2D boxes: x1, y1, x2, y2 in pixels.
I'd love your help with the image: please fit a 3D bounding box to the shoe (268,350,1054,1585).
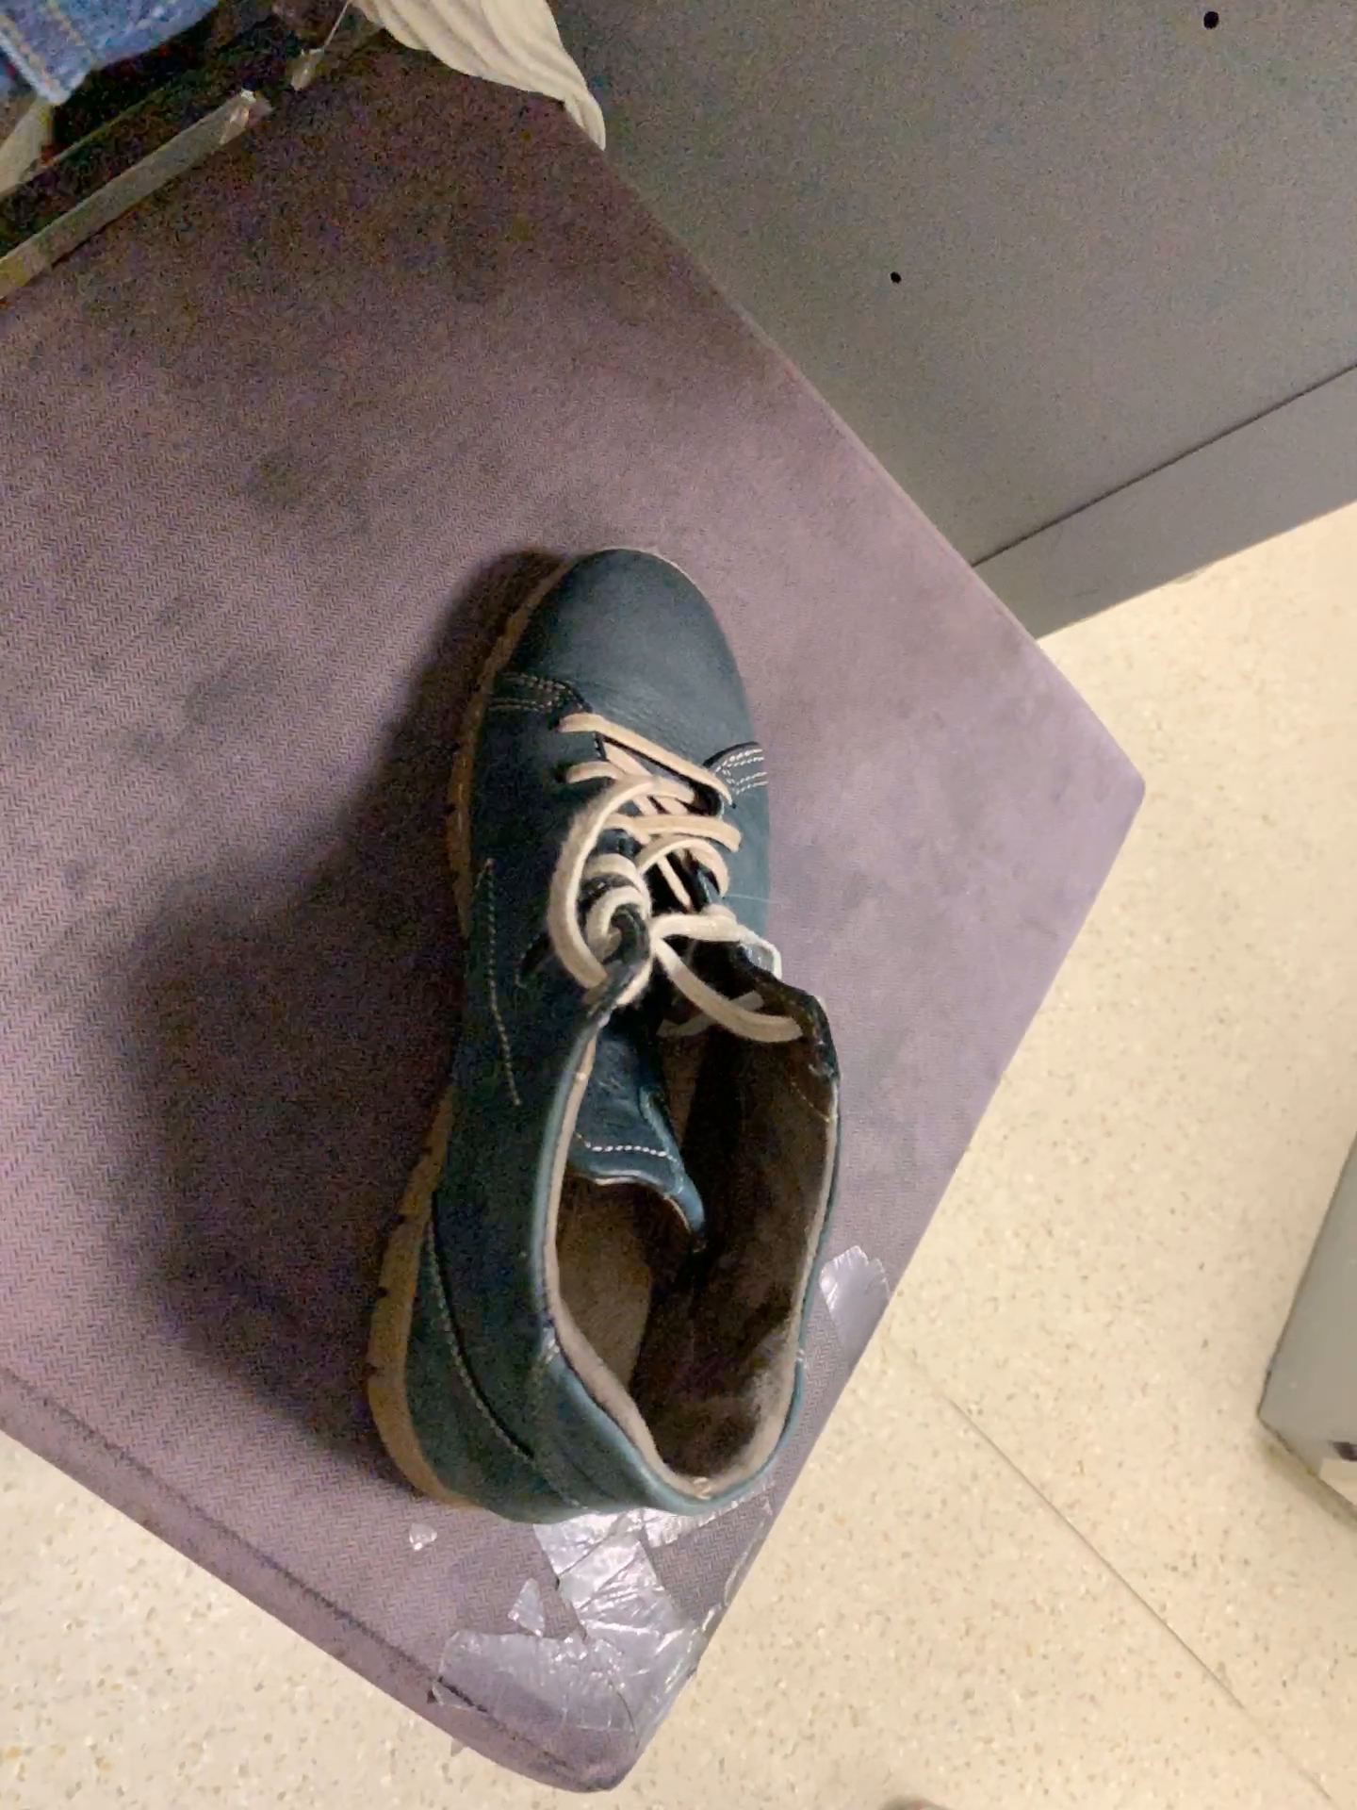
[{"bbox_3d":[-0.004,0.020,0.353,0.103,0.143,0.245,19,70,-28],"label":"shoe"}]
